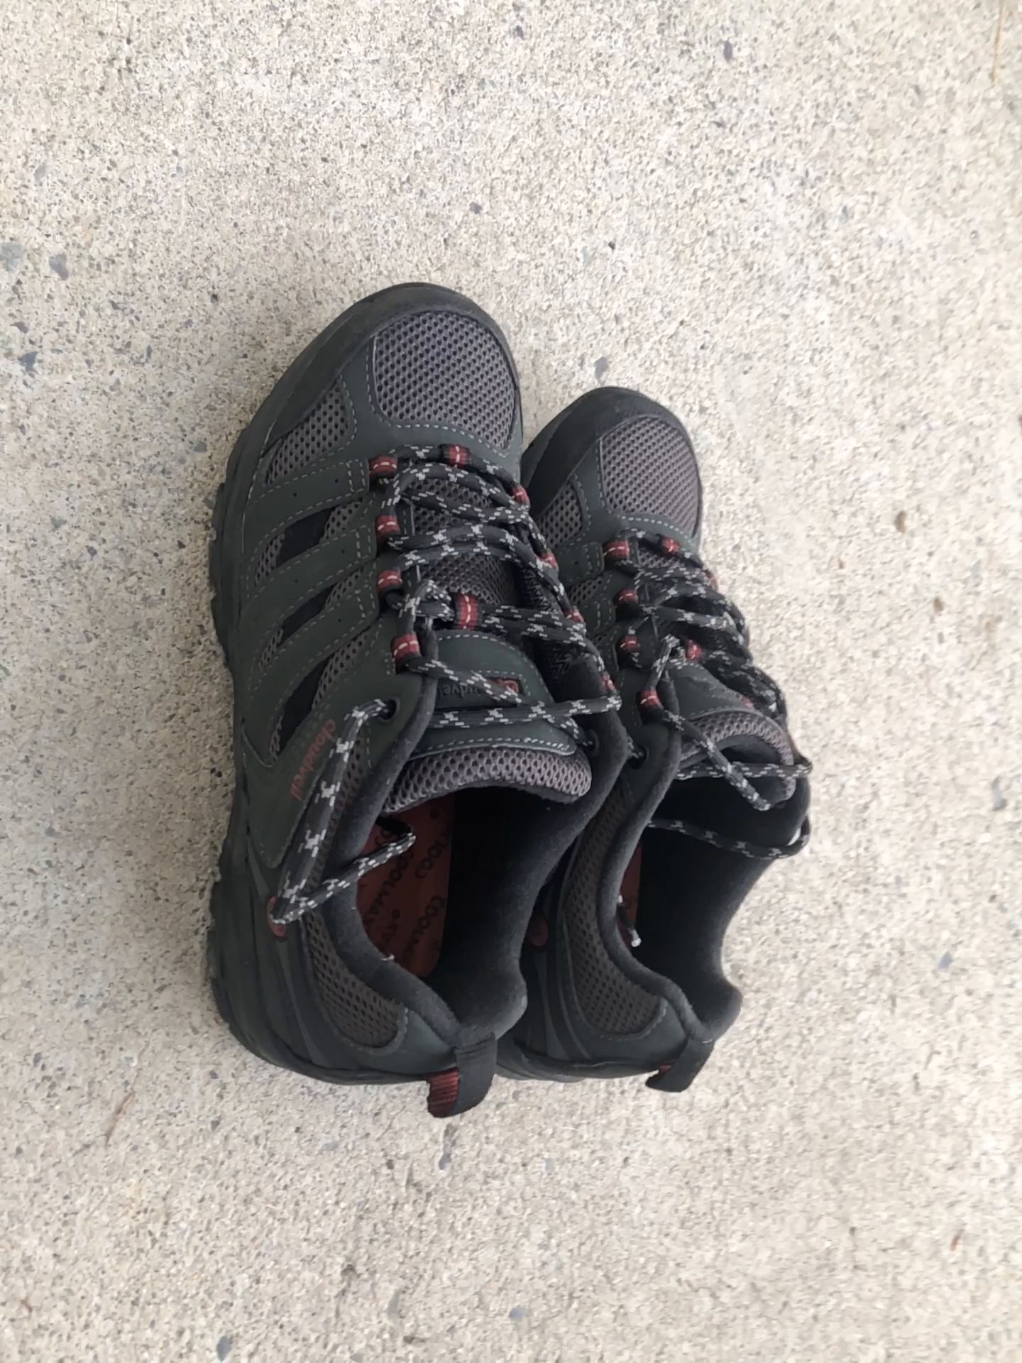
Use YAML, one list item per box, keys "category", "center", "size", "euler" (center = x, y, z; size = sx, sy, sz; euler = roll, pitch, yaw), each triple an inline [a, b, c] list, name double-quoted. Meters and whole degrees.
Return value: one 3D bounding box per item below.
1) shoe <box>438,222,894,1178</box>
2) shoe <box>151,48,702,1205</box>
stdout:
- category: "shoe"
  center: [0.062, 0.008, 0.430]
  size: [0.121, 0.109, 0.300]
  euler: [9, 80, -38]
- category: "shoe"
  center: [-0.024, -0.013, 0.368]
  size: [0.121, 0.109, 0.302]
  euler: [9, 80, -38]
